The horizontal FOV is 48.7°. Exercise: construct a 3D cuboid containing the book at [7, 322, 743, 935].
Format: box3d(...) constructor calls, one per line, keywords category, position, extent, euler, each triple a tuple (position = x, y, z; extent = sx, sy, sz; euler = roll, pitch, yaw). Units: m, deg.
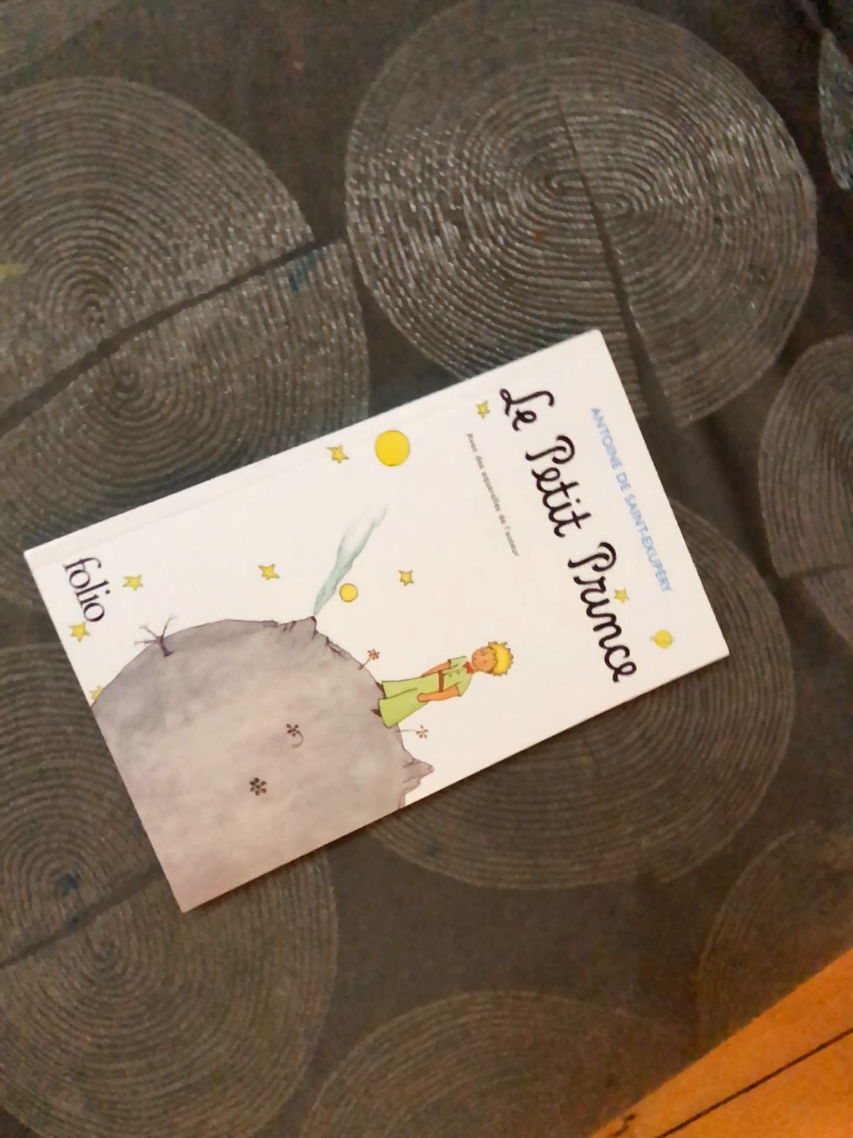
box3d(category="book", position=(-0.010, 0.014, 0.268), extent=(0.170, 0.030, 0.110), euler=(-22, 96, -6))
